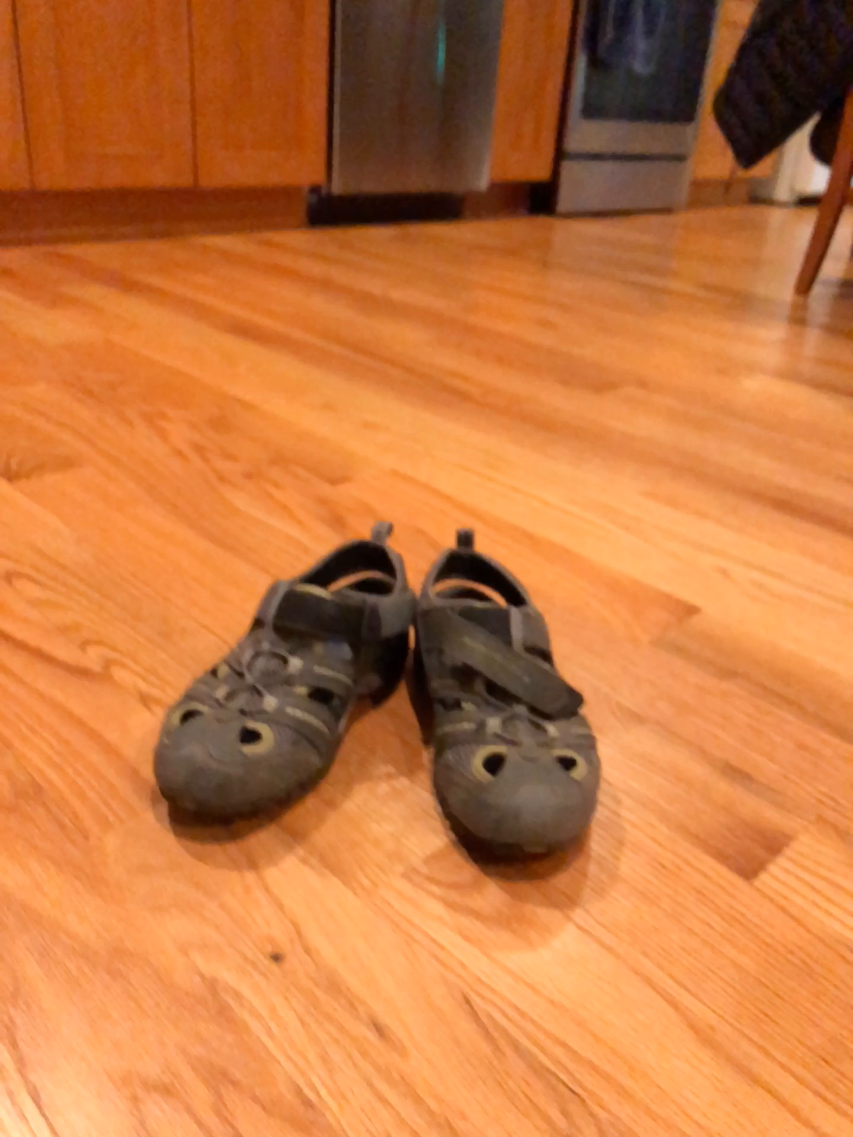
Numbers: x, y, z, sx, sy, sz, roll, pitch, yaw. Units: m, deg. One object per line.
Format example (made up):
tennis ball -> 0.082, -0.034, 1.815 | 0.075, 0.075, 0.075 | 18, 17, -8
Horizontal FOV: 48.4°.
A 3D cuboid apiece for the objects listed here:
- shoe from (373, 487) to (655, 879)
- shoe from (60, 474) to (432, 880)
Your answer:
shoe -> 0.035, 0.050, 0.572 | 0.100, 0.112, 0.246 | -1, 27, -10
shoe -> -0.089, 0.045, 0.568 | 0.100, 0.112, 0.246 | 13, 28, 16
